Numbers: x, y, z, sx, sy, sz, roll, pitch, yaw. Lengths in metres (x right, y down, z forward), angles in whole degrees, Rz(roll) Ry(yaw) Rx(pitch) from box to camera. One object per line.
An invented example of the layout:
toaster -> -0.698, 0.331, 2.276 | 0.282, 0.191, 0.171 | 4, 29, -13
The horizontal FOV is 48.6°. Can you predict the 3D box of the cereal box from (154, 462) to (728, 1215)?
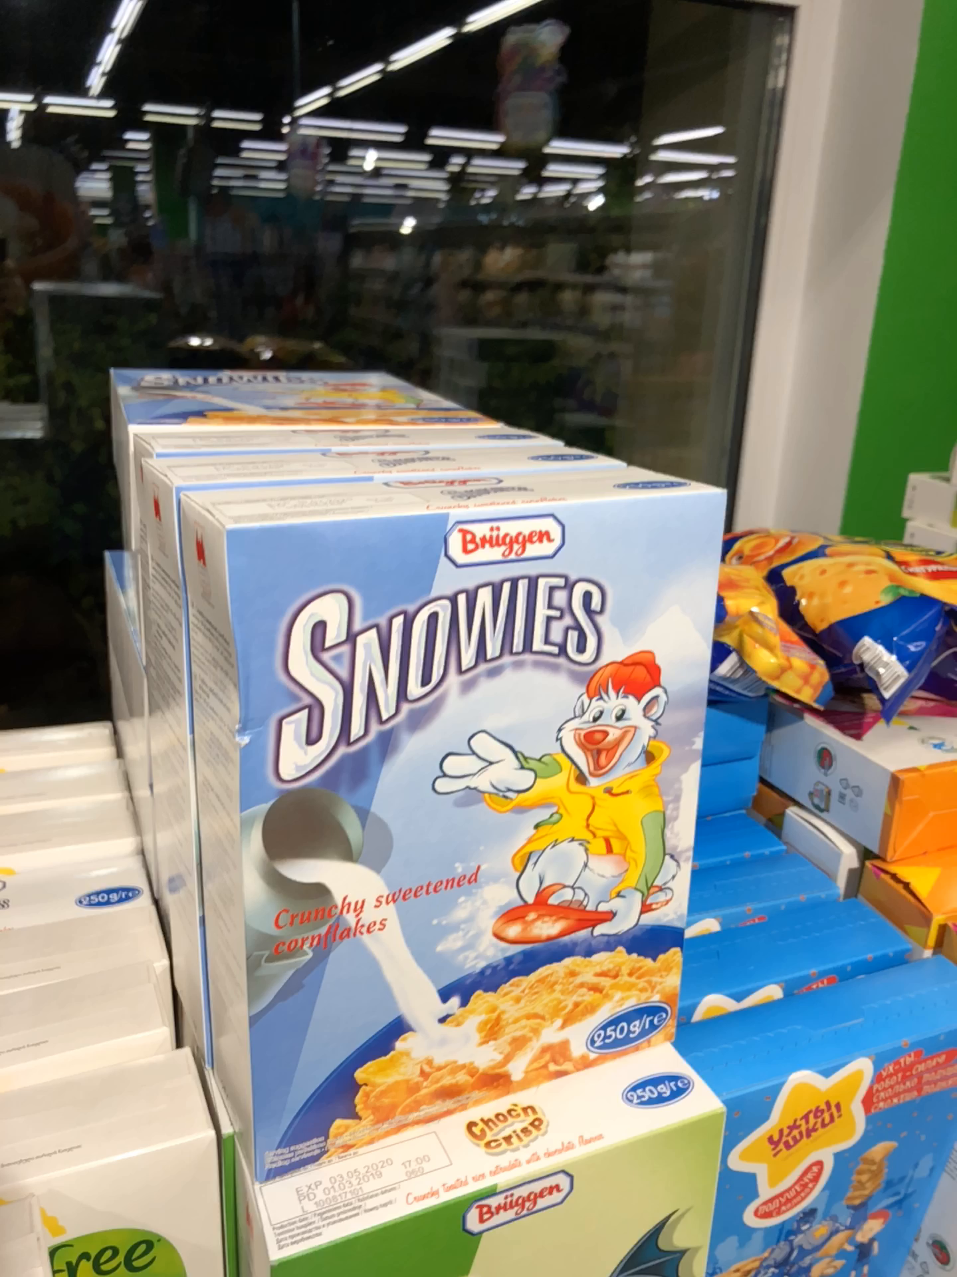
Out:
cereal box -> -0.014, 0.068, 0.427 | 0.200, 0.259, 0.070 | -7, 19, -26
